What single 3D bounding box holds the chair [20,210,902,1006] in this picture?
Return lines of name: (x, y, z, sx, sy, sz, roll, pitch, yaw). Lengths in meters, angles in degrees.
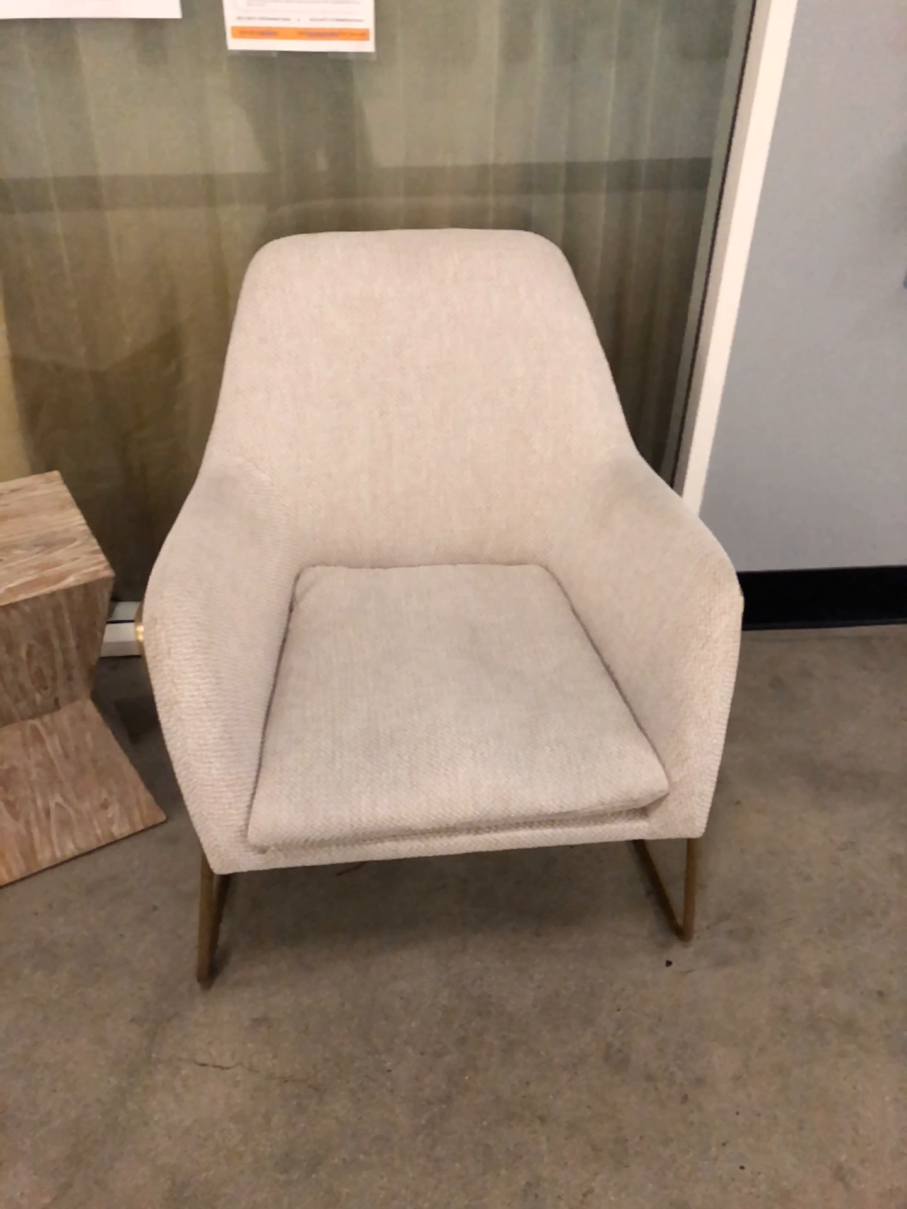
chair: (-0.029, -0.064, 1.530, 0.830, 0.816, 0.895, -3, 35, -5)
